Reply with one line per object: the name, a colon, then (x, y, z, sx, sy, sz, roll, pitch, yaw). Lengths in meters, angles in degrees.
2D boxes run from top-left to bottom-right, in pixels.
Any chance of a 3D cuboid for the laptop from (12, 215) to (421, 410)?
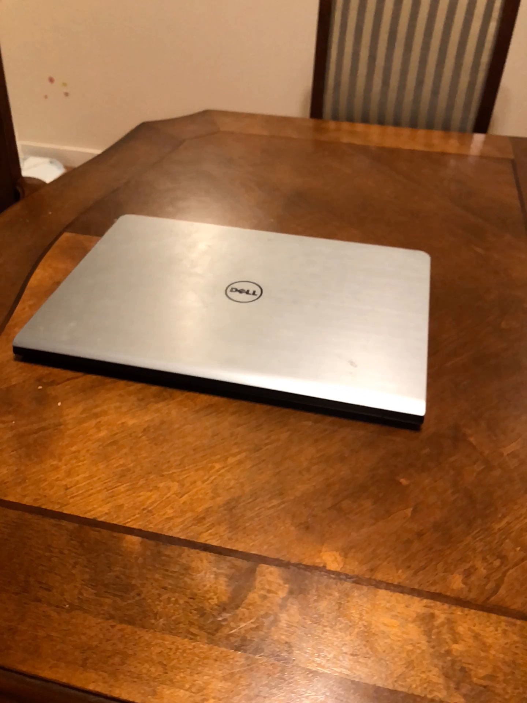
laptop: (-0.027, -0.060, 0.596, 0.363, 0.002, 0.245, 9, 42, 10)
